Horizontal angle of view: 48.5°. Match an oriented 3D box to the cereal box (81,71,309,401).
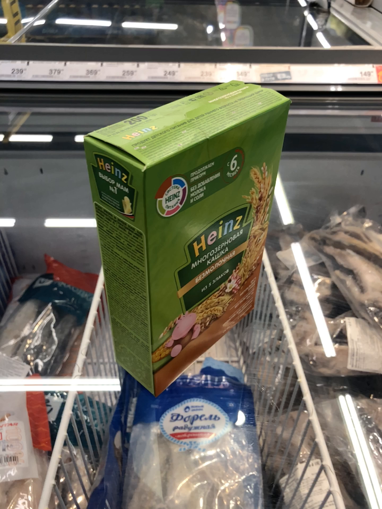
[{"bbox_3d":[0.008,-0.009,0.309,0.050,0.199,0.141,31,48,31],"label":"cereal box"}]
